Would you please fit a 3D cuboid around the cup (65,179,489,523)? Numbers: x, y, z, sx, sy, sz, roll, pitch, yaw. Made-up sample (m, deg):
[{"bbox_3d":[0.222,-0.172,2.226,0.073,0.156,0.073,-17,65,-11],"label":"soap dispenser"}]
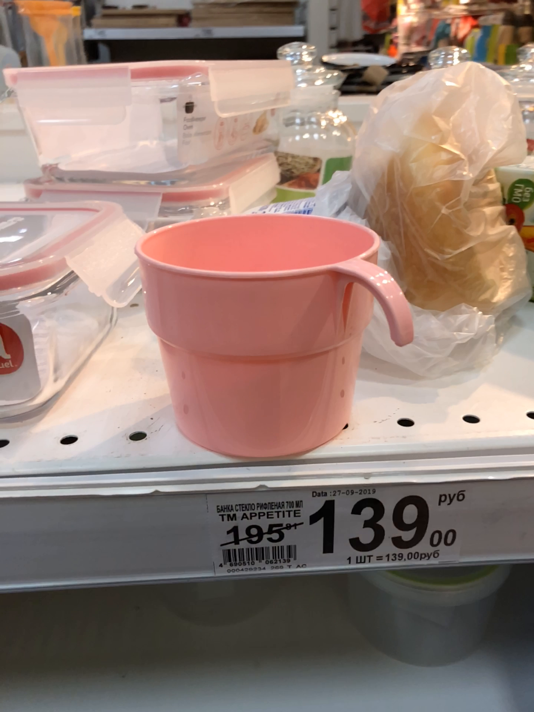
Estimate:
[{"bbox_3d":[0.002,-0.015,0.206,0.110,0.070,0.081,19,31,36],"label":"cup"}]
